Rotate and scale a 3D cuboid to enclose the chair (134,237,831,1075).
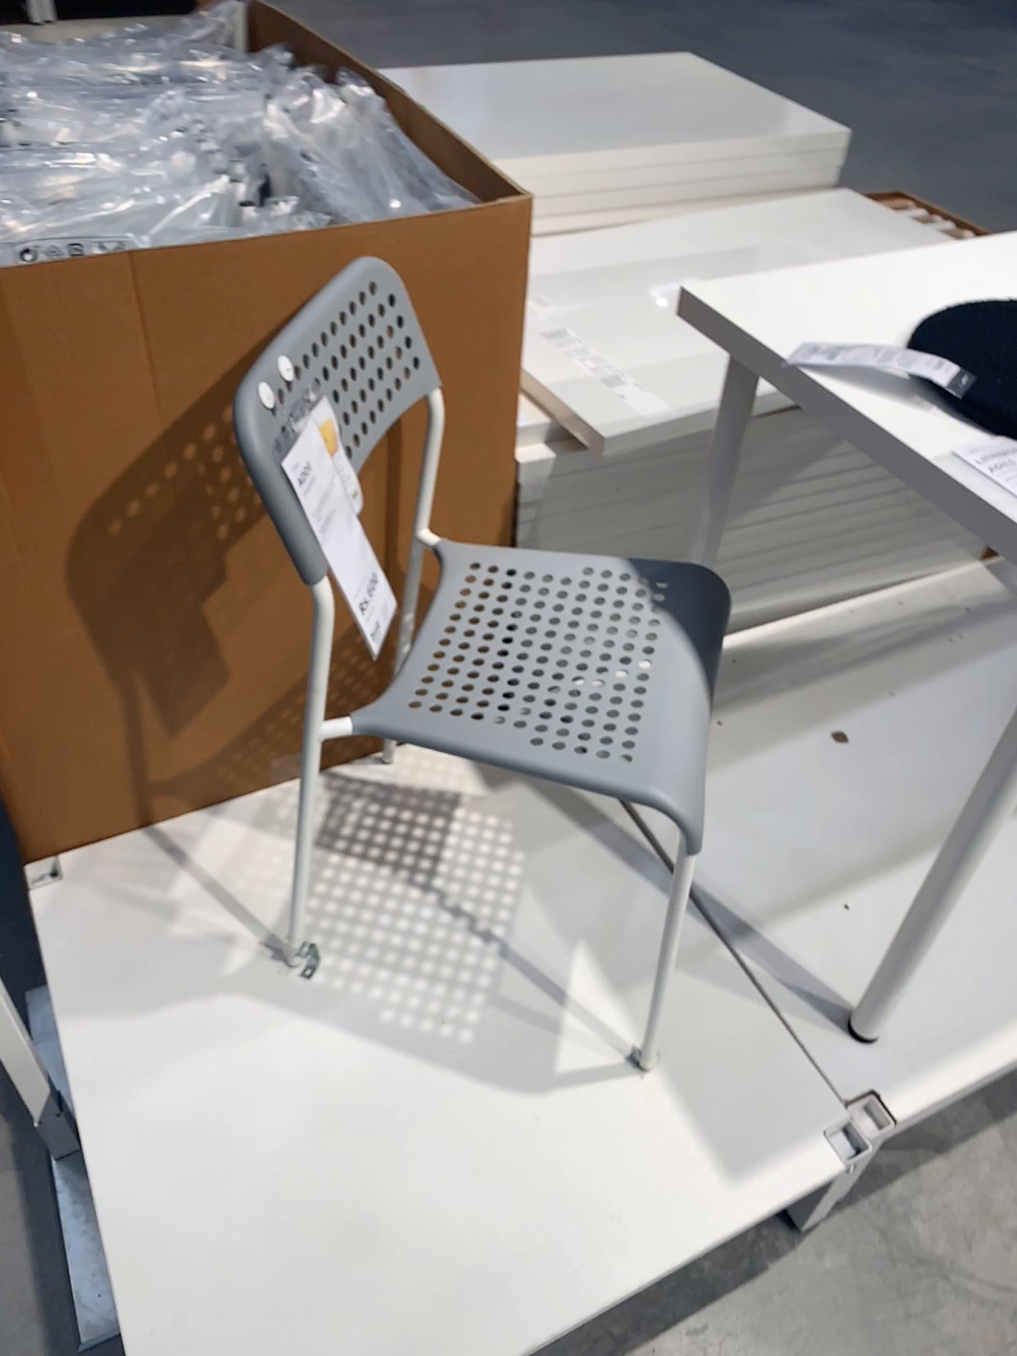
[{"bbox_3d":[0.002,-0.012,1.130,0.500,0.687,0.462,12,43,8],"label":"chair"}]
